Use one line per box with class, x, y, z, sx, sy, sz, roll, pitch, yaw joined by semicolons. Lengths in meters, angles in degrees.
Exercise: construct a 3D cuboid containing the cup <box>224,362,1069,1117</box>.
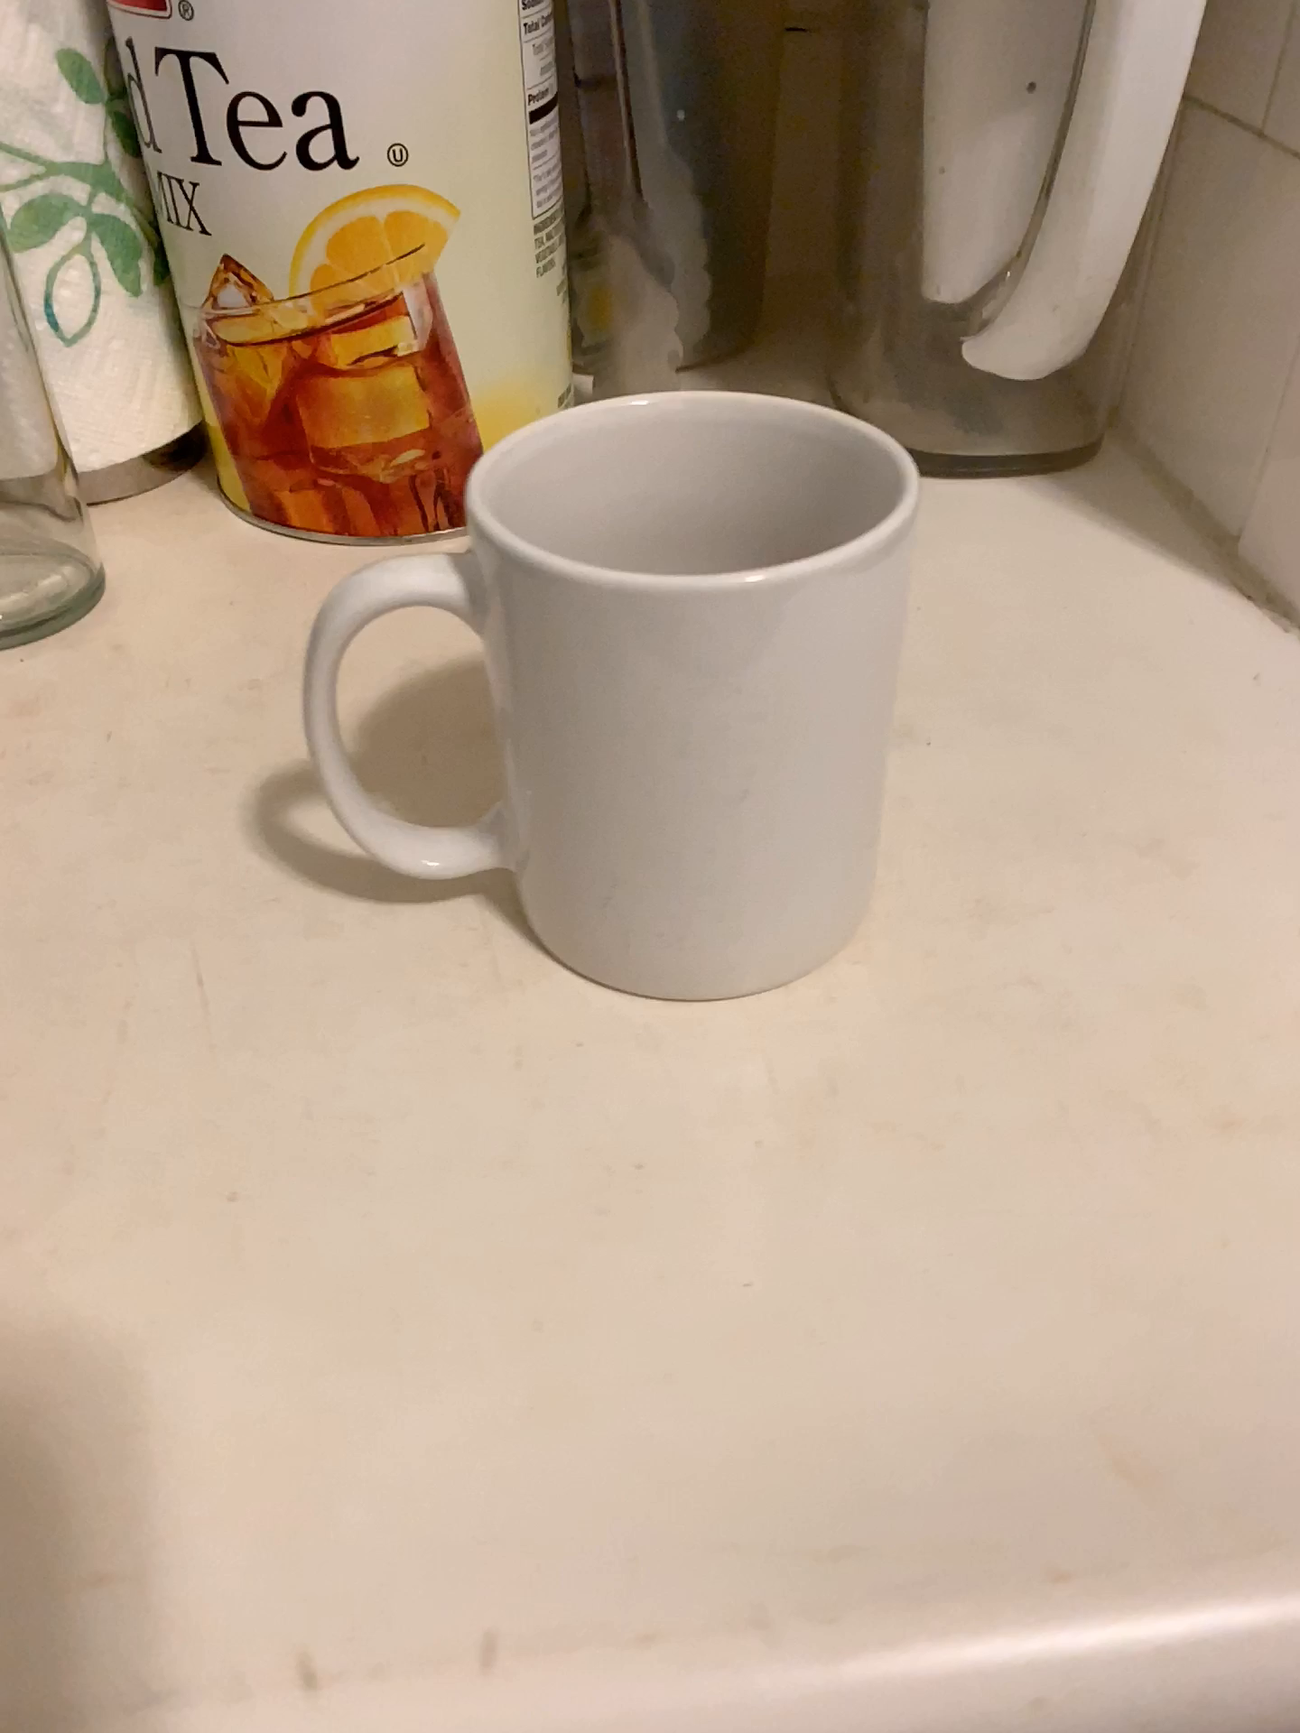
cup;-0.007;-0.030;0.284;0.140;0.109;0.091;-9;41;-11
